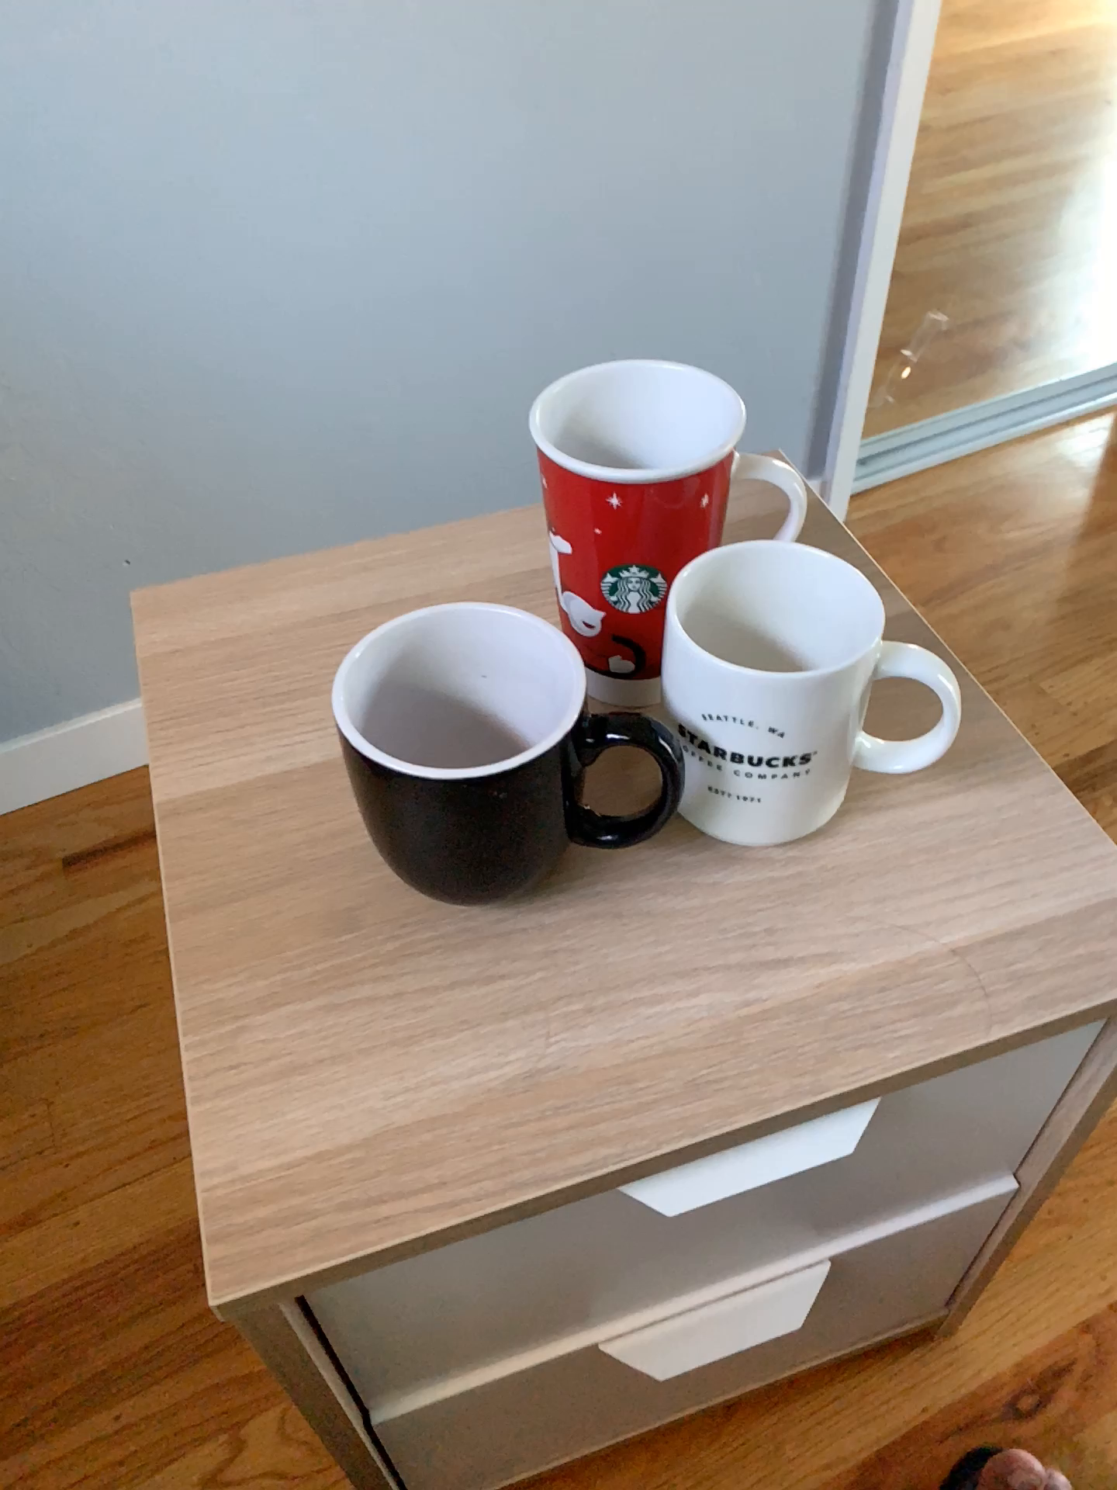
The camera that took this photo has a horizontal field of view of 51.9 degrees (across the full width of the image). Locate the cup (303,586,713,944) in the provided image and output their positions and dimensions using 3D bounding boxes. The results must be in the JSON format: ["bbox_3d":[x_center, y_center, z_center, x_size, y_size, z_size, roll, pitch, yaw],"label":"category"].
[{"bbox_3d":[-0.013,0.007,0.455,0.140,0.090,0.100,3,46,5],"label":"cup"}]

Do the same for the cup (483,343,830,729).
[{"bbox_3d":[0.049,-0.102,0.563,0.140,0.139,0.100,8,47,10],"label":"cup"}]

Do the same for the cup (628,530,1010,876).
[{"bbox_3d":[0.106,-0.019,0.503,0.140,0.100,0.100,5,46,6],"label":"cup"}]
